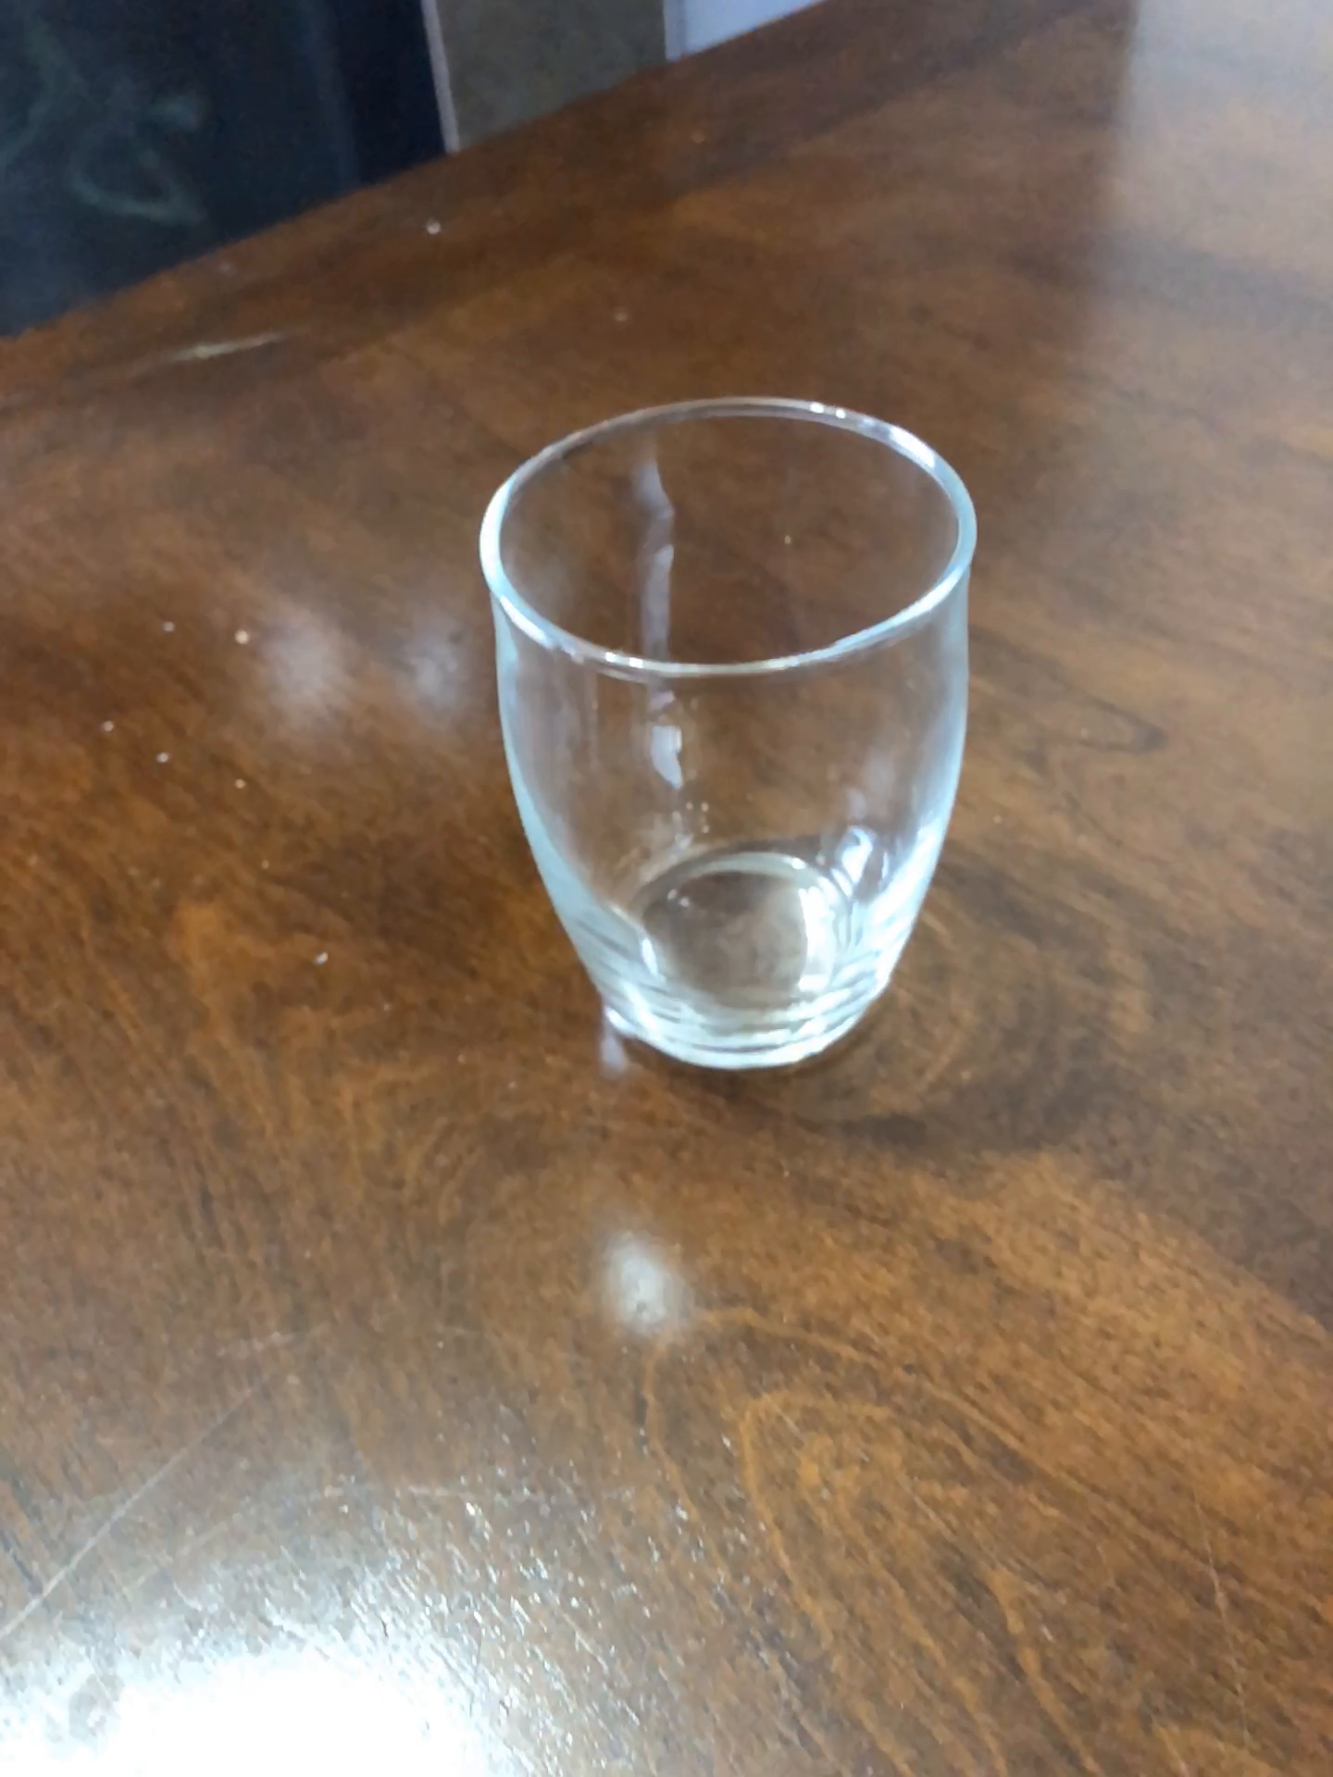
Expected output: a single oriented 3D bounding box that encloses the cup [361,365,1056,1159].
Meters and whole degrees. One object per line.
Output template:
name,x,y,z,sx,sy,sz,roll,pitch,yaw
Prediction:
cup,0.009,-0.018,0.199,0.060,0.070,0.060,-3,46,3
